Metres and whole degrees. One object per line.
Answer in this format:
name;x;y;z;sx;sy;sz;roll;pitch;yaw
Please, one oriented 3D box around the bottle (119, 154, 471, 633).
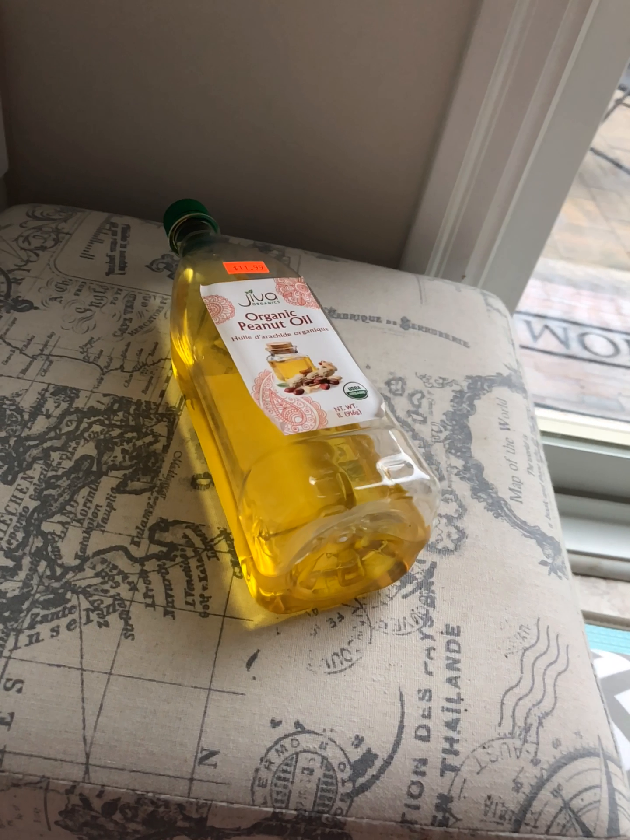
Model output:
bottle;-0.033;-0.038;0.360;0.080;0.070;0.271;-8;48;-23
